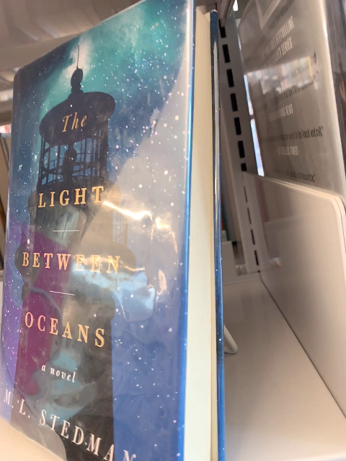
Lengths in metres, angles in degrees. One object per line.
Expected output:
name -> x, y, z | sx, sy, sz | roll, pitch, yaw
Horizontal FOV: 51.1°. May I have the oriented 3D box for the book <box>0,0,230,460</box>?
book -> -0.047, 0.003, 0.206 | 0.156, 0.225, 0.042 | -2, -6, 39
